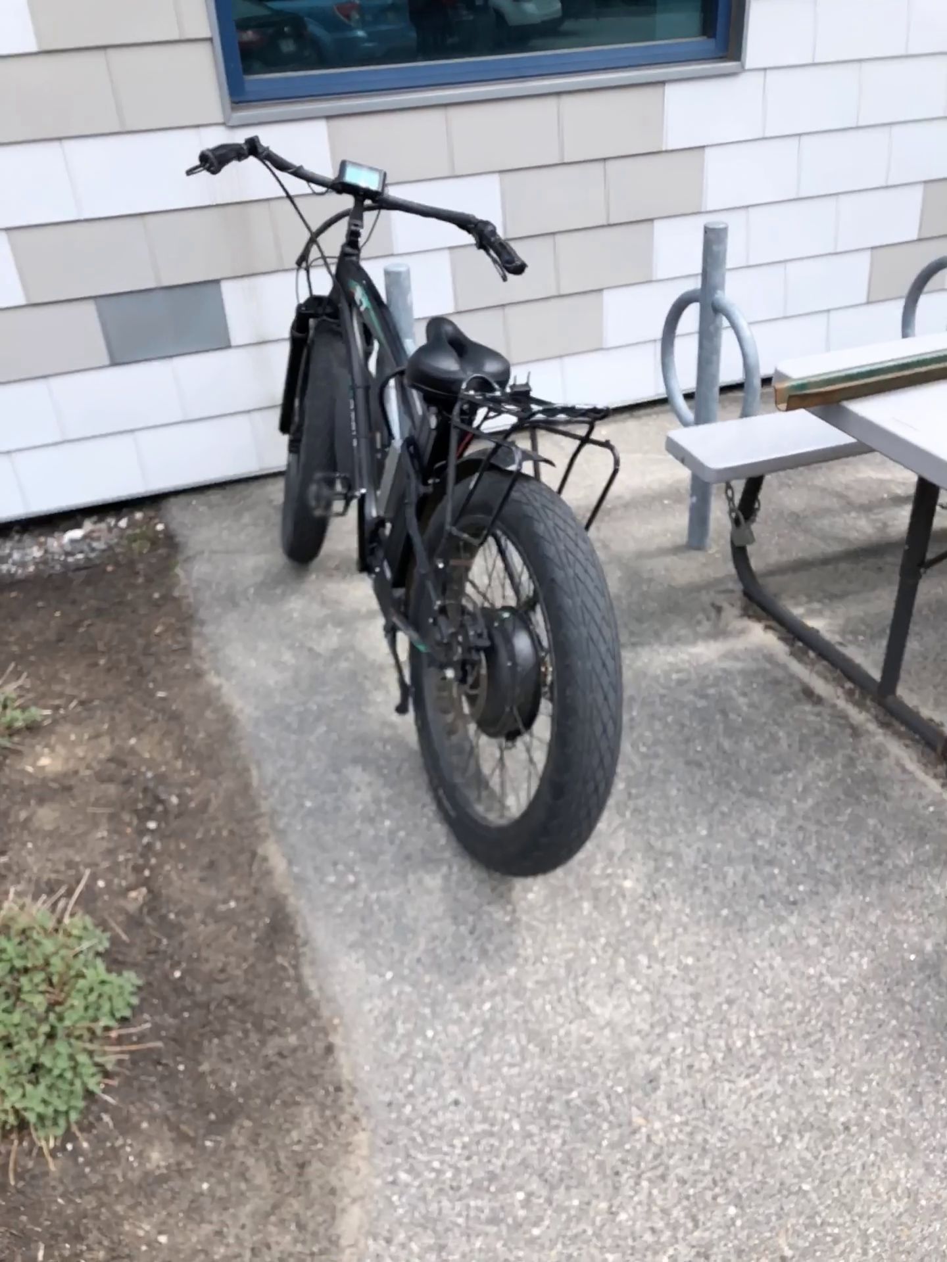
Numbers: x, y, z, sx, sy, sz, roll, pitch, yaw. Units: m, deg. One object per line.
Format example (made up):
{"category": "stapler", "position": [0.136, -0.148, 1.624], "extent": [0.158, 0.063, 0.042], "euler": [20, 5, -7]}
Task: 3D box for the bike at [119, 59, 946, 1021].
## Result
{"category": "bike", "position": [-0.080, -0.444, 2.259], "extent": [0.911, 1.132, 1.869], "euler": [-14, 36, -15]}
